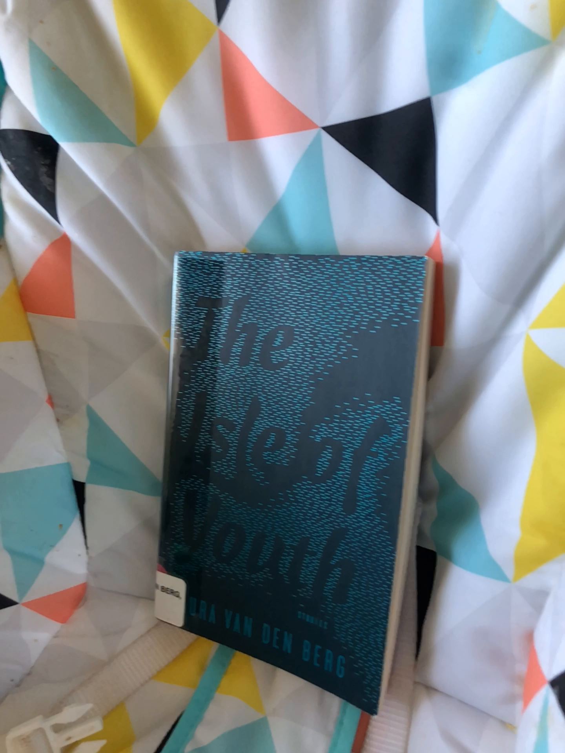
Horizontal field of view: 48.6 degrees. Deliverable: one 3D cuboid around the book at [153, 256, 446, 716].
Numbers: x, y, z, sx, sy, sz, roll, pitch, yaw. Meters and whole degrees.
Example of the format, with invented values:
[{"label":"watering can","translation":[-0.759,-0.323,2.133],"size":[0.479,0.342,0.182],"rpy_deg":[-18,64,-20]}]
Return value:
[{"label":"book","translation":[0.001,0.038,0.286],"size":[0.124,0.032,0.180],"rpy_deg":[8,98,32]}]
